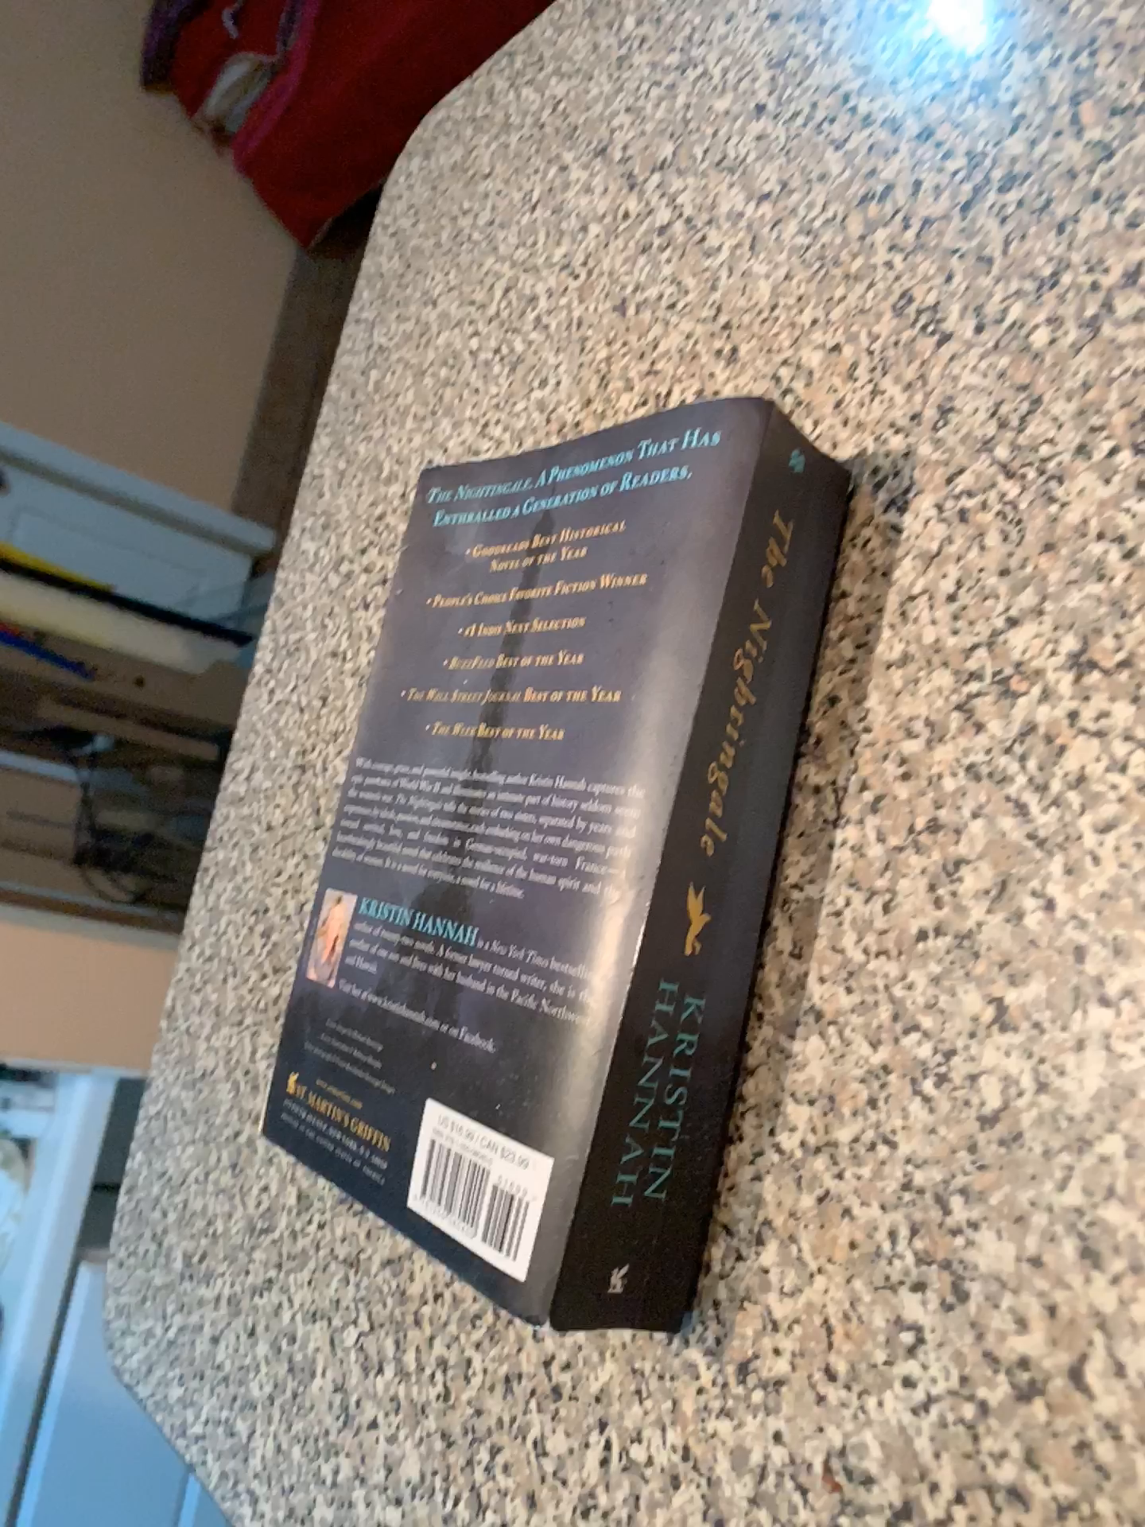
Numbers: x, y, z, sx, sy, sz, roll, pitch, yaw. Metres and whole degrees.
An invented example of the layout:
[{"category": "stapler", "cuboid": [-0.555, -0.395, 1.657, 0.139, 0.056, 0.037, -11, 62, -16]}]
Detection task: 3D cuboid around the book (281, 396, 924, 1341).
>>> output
[{"category": "book", "cuboid": [0.000, 0.021, 0.323, 0.140, 0.056, 0.207, 5, 79, 54]}]
